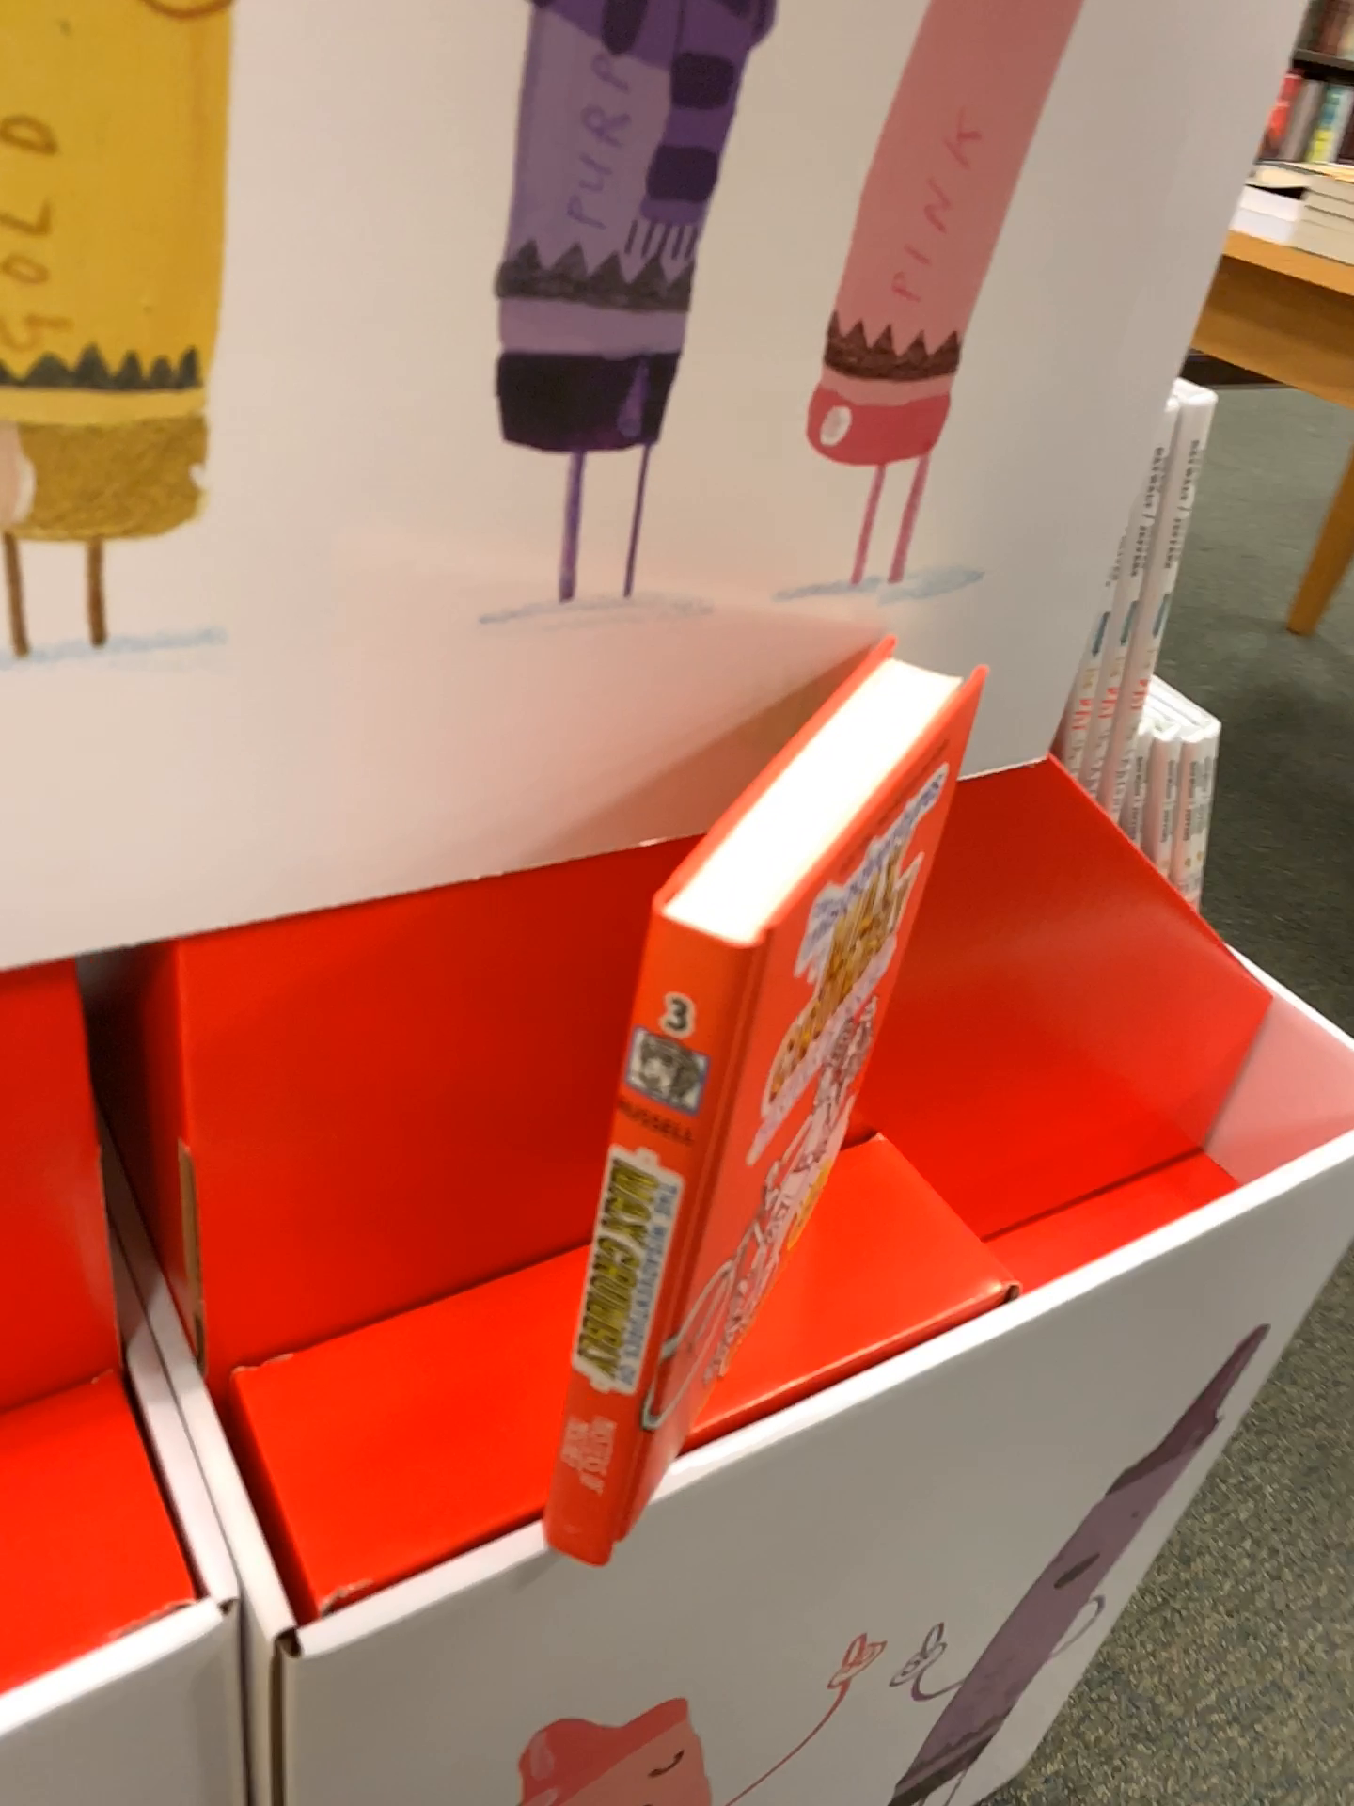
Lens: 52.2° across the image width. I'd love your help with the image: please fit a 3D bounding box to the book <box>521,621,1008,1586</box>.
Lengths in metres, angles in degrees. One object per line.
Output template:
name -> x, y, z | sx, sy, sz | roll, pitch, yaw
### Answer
book -> 0.021, 0.049, 0.345 | 0.030, 0.201, 0.143 | 22, 36, 13
